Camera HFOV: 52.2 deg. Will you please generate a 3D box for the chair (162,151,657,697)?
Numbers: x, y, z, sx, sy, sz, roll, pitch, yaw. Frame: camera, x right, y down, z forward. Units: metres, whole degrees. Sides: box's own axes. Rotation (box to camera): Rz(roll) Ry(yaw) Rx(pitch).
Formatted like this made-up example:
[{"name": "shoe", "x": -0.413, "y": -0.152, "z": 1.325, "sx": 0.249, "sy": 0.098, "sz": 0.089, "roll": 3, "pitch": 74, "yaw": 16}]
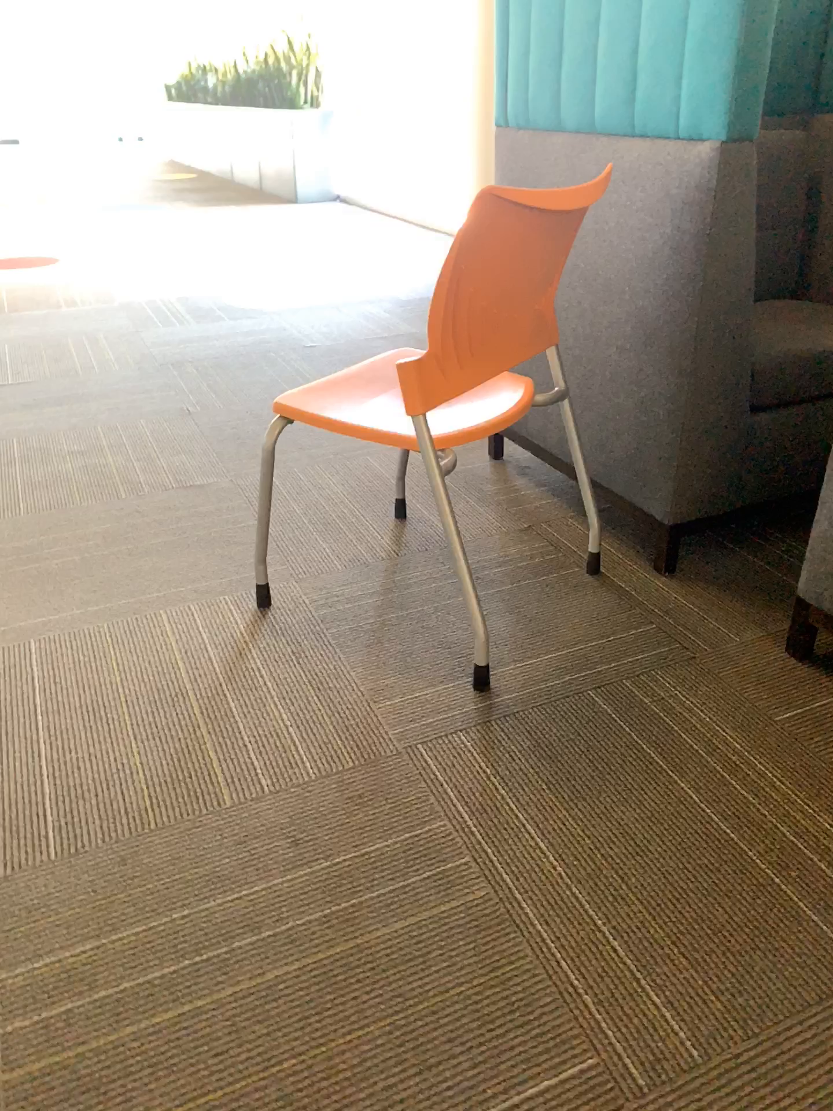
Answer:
[{"name": "chair", "x": 0.018, "y": -0.319, "z": 1.664, "sx": 0.612, "sy": 0.805, "sz": 0.642, "roll": 16, "pitch": 33, "yaw": 28}]
